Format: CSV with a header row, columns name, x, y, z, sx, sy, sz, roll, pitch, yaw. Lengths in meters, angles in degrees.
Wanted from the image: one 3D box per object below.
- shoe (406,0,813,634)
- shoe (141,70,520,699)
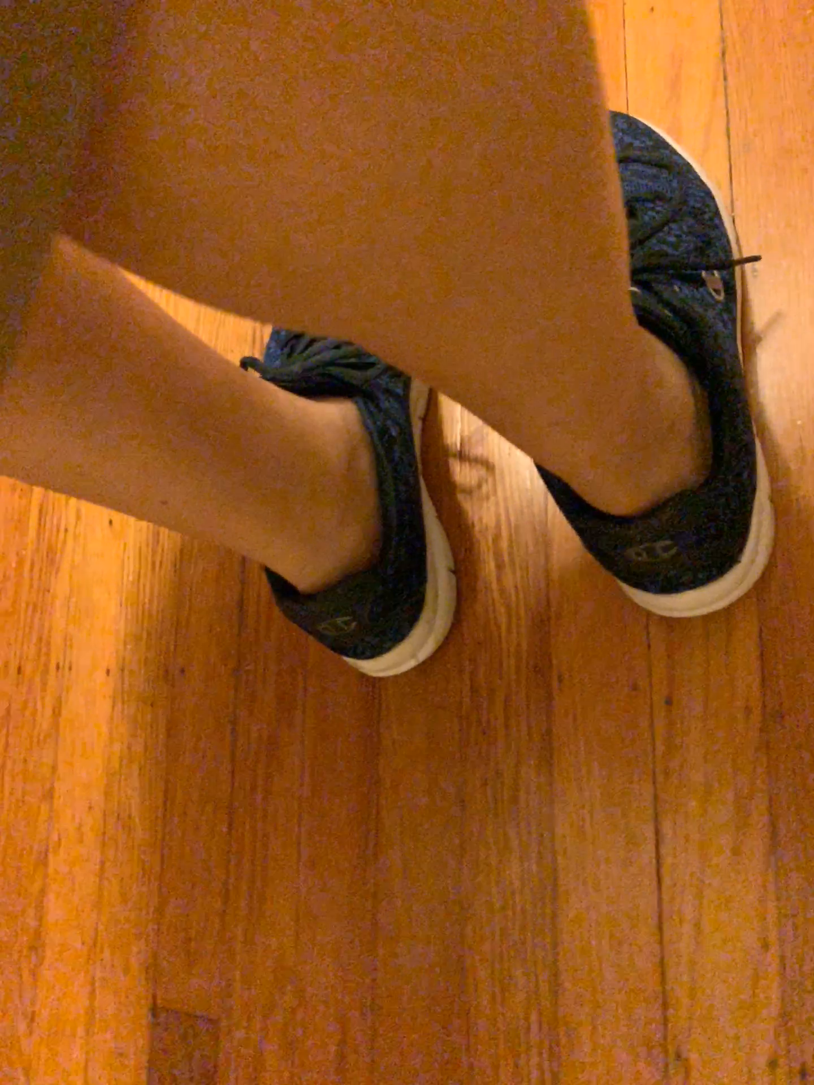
name,x,y,z,sx,sy,sz,roll,pitch,yaw
shoe,0.105,-0.113,0.388,0.118,0.129,0.280,-18,72,22
shoe,-0.042,-0.069,0.463,0.116,0.149,0.290,-15,73,23
